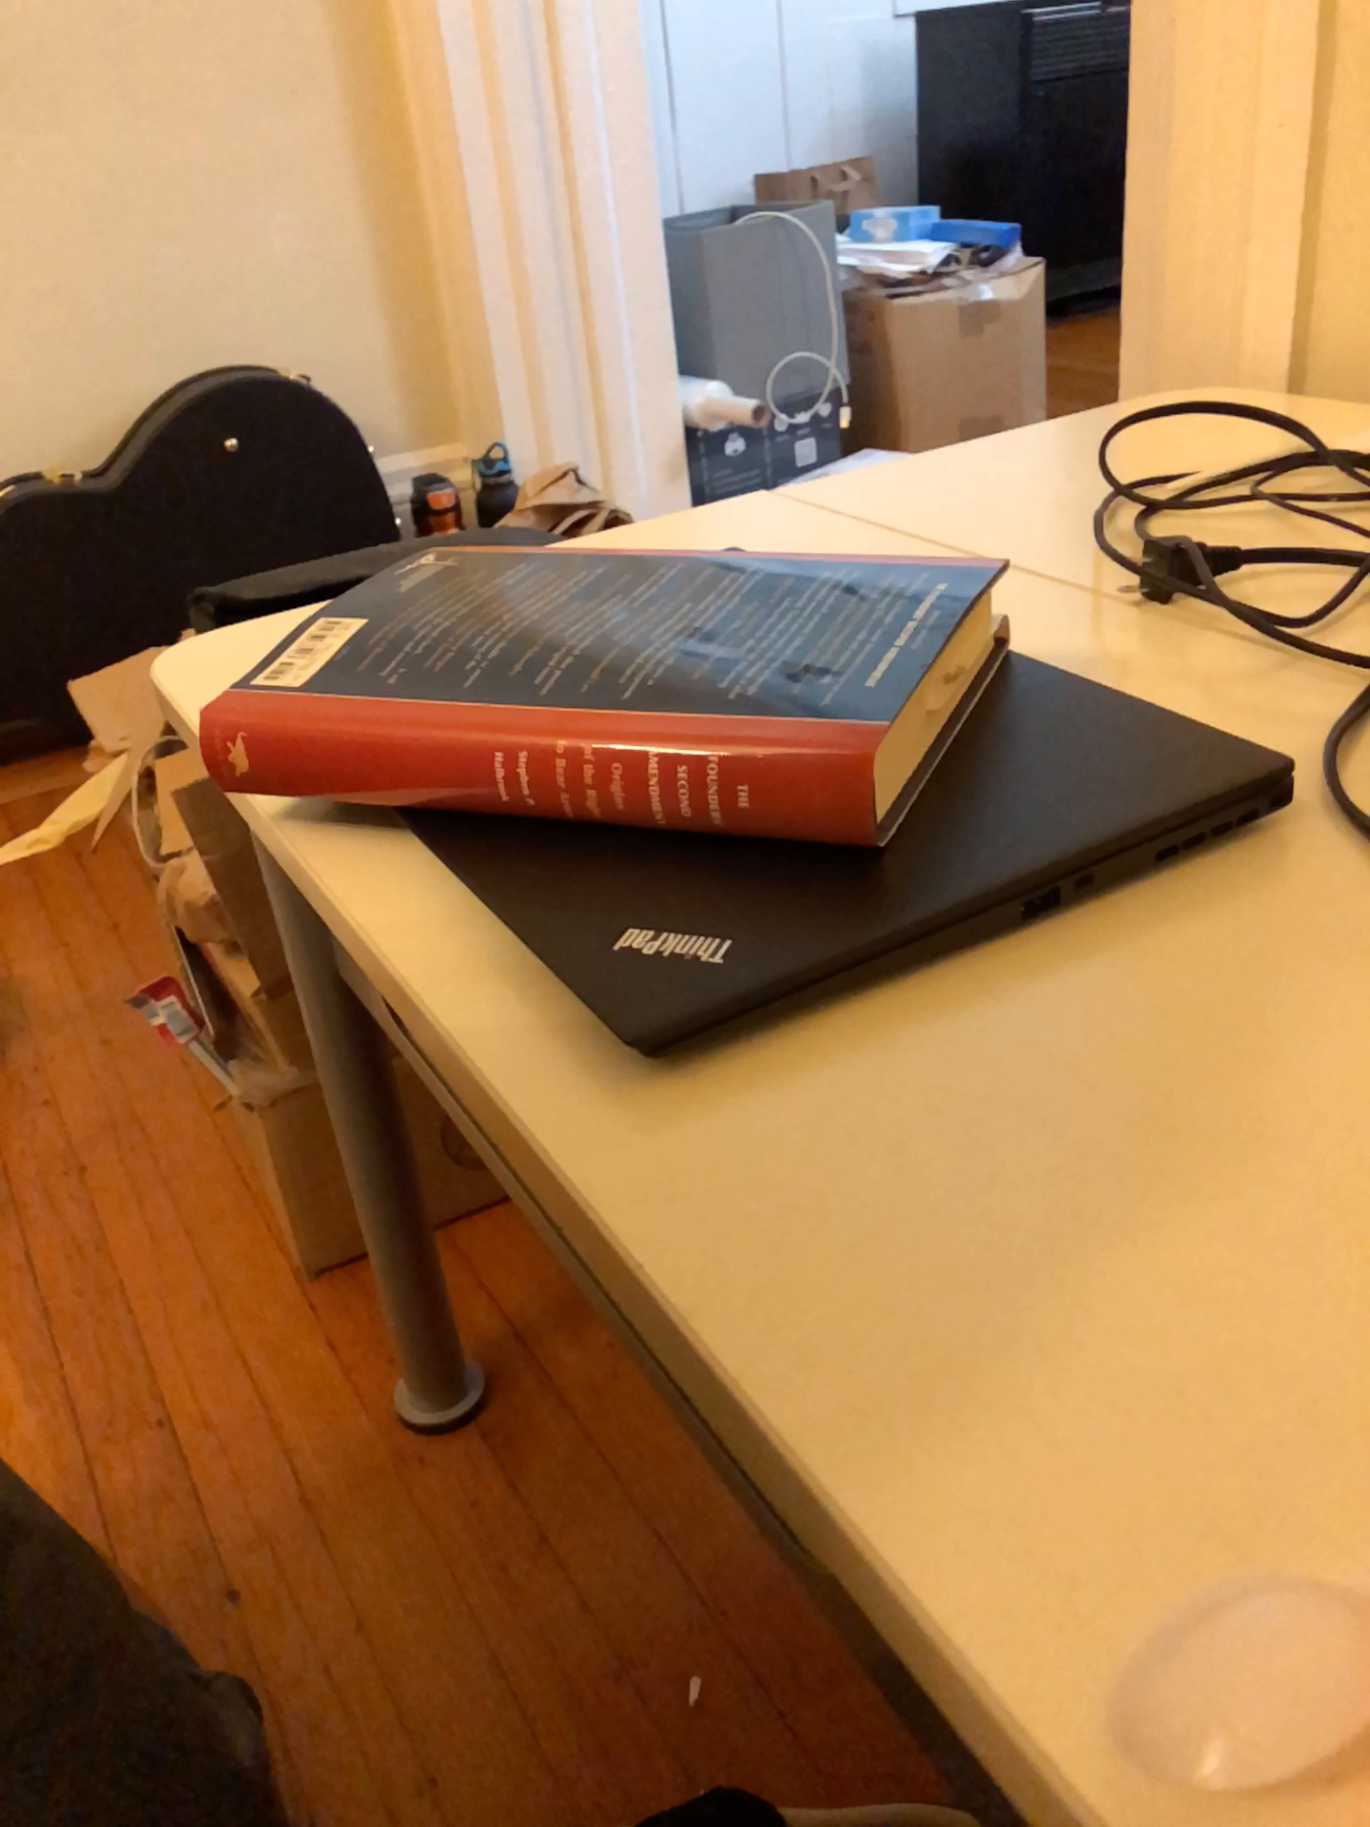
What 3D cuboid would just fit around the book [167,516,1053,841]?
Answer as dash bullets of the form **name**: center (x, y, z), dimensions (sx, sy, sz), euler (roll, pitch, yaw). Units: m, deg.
- **book**: center (-0.018, -0.086, 0.500), dimensions (0.240, 0.040, 0.171), euler (5, 30, 26)
